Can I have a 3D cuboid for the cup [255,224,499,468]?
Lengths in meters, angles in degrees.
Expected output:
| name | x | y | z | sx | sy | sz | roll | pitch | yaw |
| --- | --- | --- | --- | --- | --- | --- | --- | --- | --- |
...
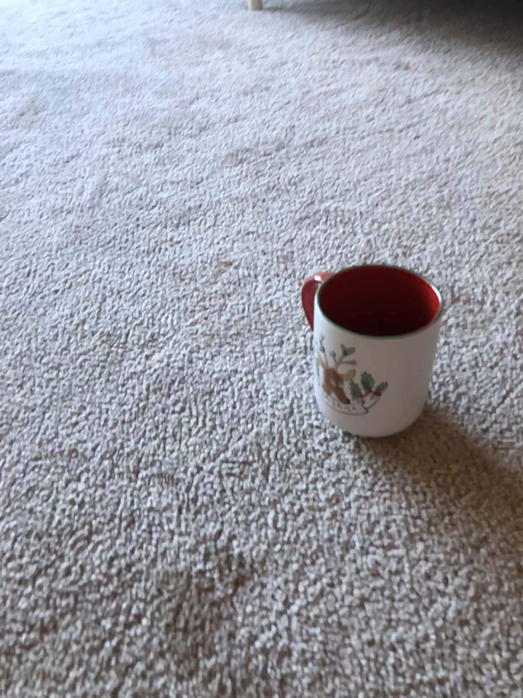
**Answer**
| name | x | y | z | sx | sy | sz | roll | pitch | yaw |
| --- | --- | --- | --- | --- | --- | --- | --- | --- | --- |
| cup | 0.077 | -0.009 | 0.431 | 0.100 | 0.090 | 0.140 | -25 | 46 | -21 |
